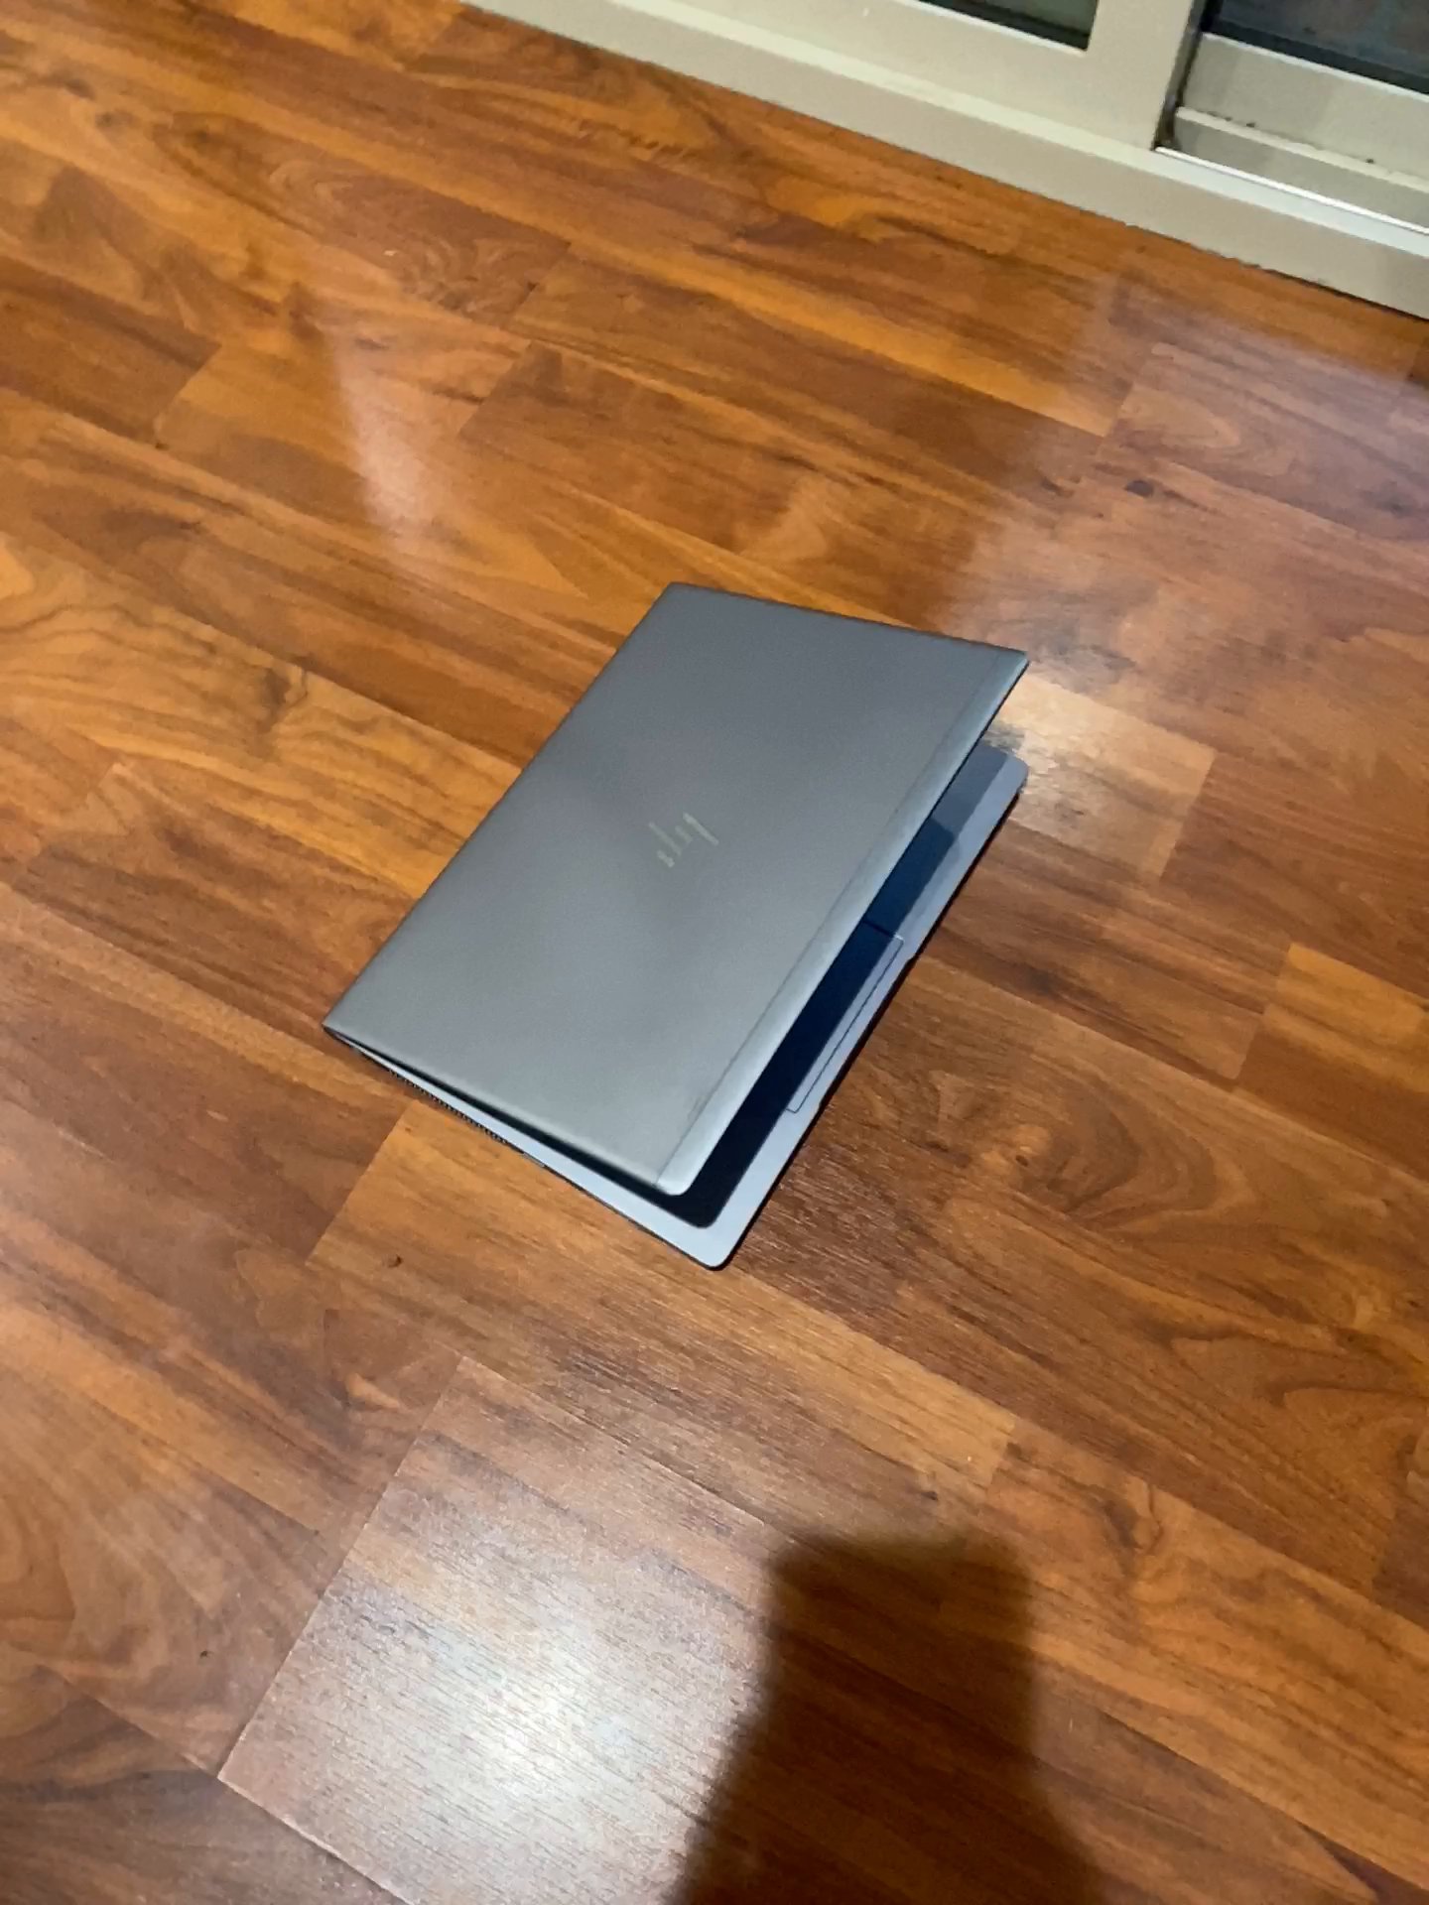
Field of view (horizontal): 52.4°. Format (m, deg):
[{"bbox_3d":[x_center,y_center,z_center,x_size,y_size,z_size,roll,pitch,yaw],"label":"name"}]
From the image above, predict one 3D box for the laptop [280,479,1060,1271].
[{"bbox_3d":[-0.012,-0.051,0.719,0.230,0.078,0.325,30,69,12],"label":"laptop"}]
